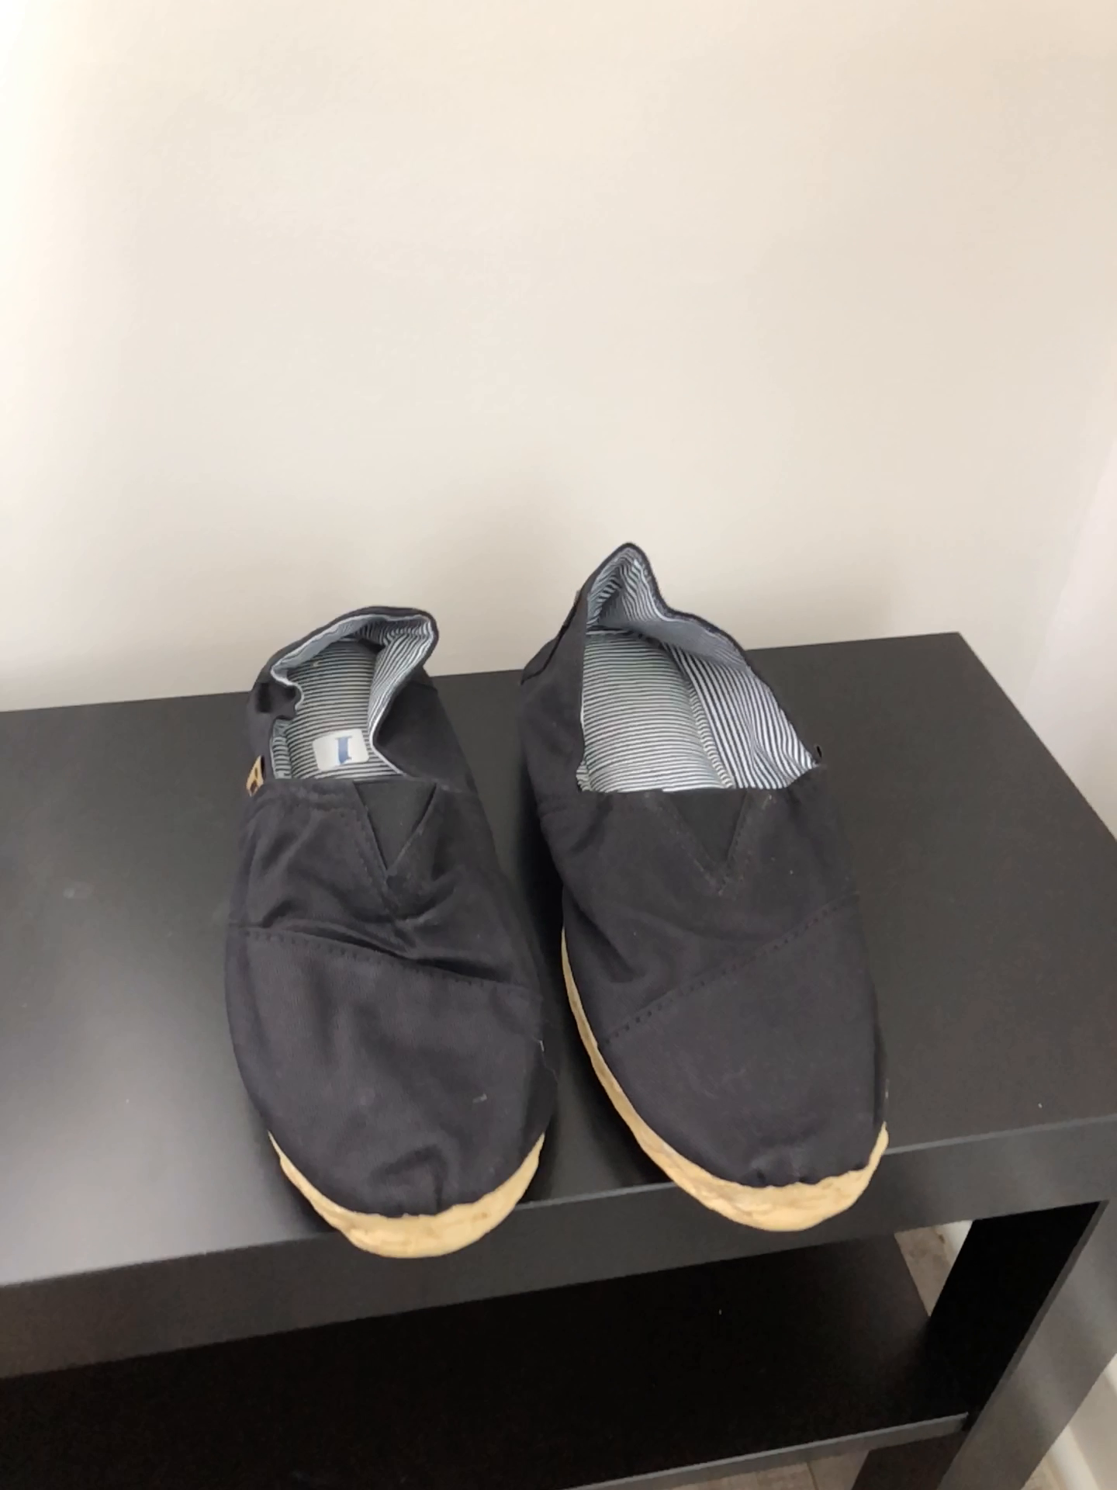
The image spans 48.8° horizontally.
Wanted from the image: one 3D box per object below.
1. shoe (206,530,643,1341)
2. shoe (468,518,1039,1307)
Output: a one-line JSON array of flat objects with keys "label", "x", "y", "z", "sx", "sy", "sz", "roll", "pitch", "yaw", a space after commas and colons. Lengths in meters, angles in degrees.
[{"label": "shoe", "x": -0.058, "y": 0.035, "z": 0.413, "sx": 0.101, "sy": 0.080, "sz": 0.275, "roll": -6, "pitch": 40, "yaw": -10}, {"label": "shoe", "x": 0.039, "y": 0.029, "z": 0.419, "sx": 0.101, "sy": 0.080, "sz": 0.275, "roll": -6, "pitch": 40, "yaw": -10}]
